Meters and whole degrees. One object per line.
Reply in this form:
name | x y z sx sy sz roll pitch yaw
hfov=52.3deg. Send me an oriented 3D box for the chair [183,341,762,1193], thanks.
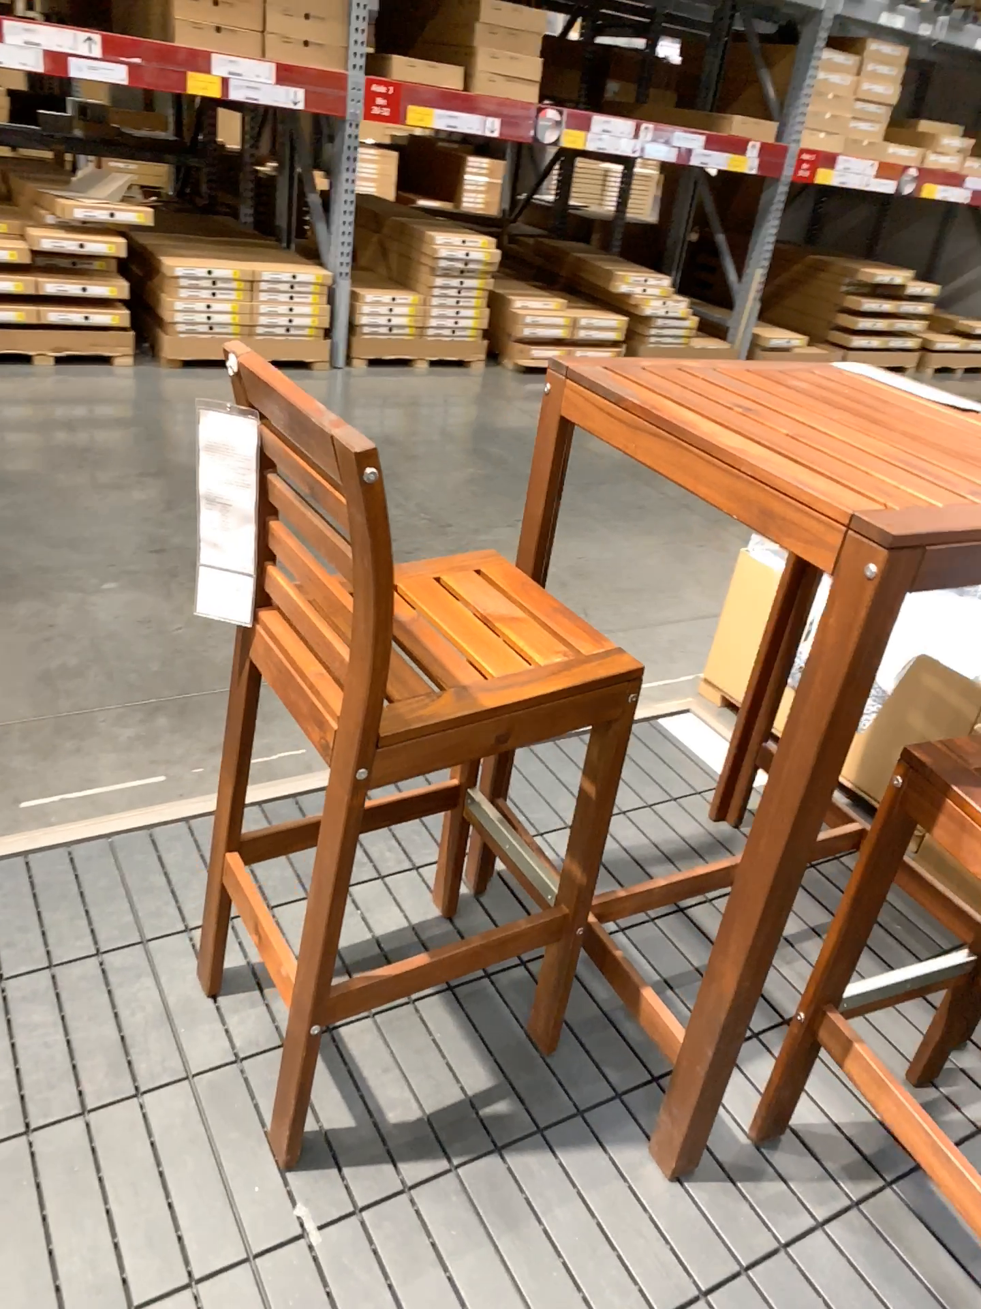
chair | -0.097 0.135 1.372 0.521 0.995 0.432 -9 33 -31
